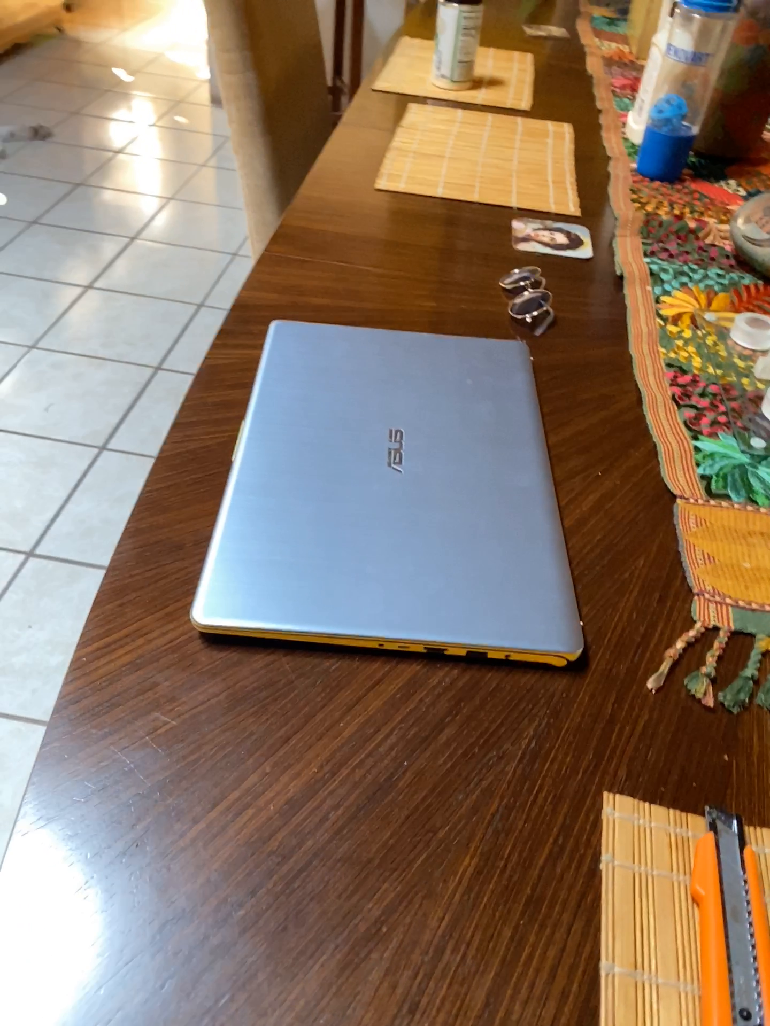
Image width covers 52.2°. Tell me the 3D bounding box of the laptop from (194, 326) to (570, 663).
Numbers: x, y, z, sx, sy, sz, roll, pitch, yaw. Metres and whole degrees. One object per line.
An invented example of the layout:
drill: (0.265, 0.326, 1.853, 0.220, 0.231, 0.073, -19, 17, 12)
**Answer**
laptop: (0.003, -0.045, 0.652, 0.246, 0.001, 0.385, 4, 43, -2)
